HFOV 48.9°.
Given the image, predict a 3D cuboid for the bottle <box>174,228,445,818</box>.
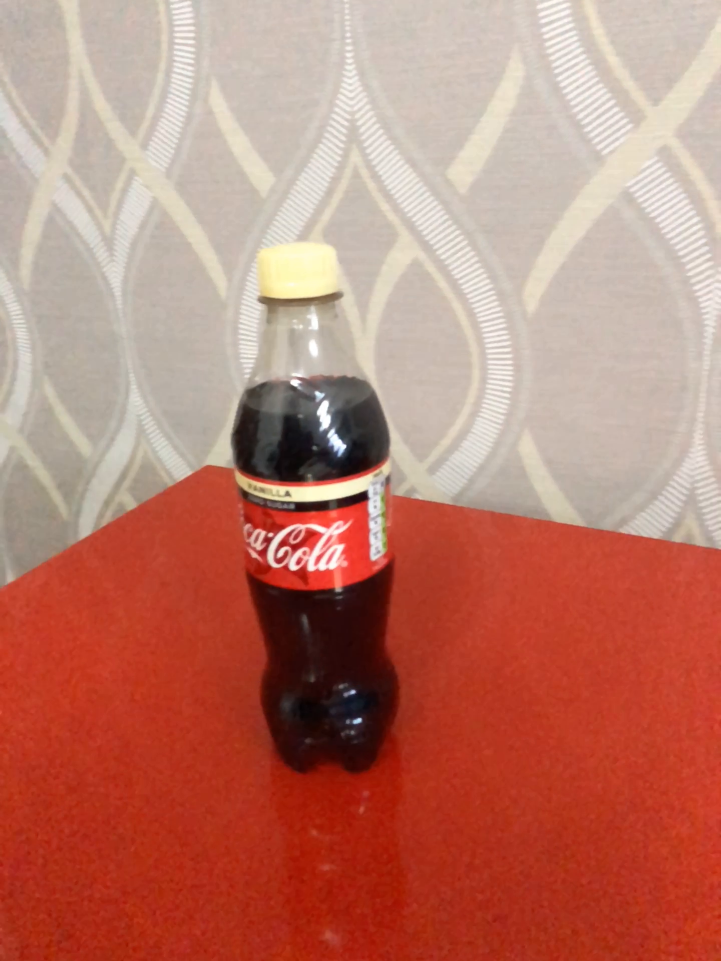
[{"bbox_3d":[-0.012,0.018,0.350,0.070,0.238,0.080,10,26,28],"label":"bottle"}]
